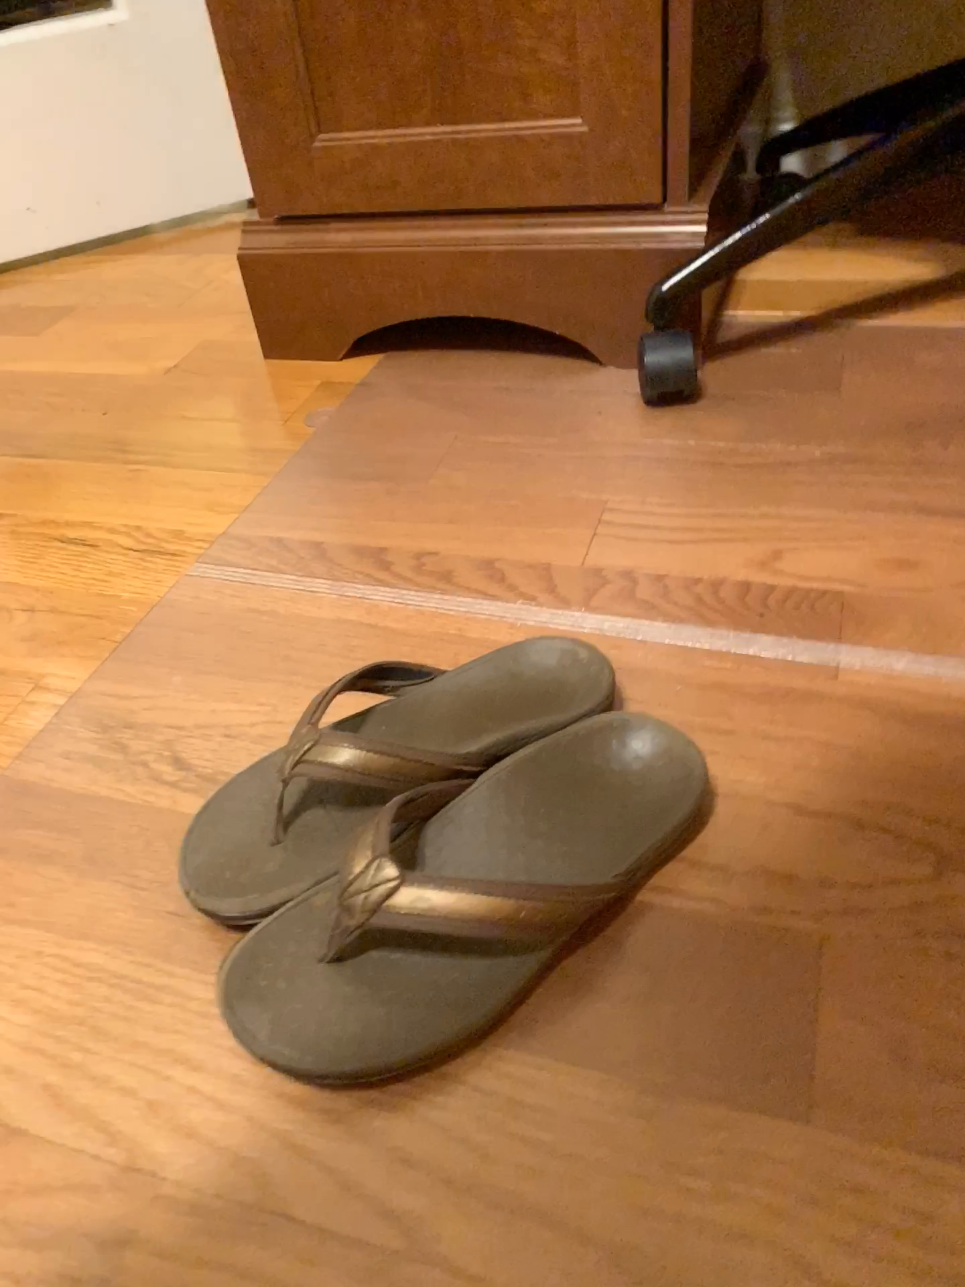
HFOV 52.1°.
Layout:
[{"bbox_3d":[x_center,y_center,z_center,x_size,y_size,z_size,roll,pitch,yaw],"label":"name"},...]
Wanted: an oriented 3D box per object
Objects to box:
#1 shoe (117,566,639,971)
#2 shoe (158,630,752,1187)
[{"bbox_3d":[-0.045,0.051,0.508,0.251,0.049,0.092,-29,43,-22],"label":"shoe"},{"bbox_3d":[-0.001,0.098,0.437,0.247,0.061,0.100,-33,45,-26],"label":"shoe"}]
